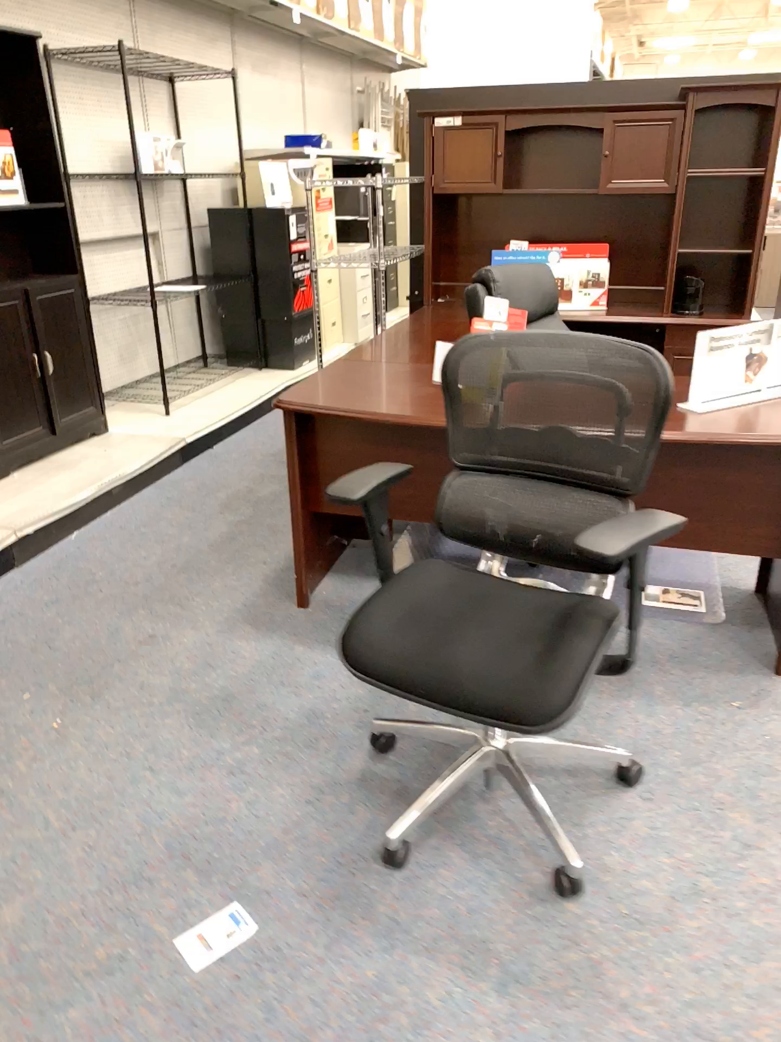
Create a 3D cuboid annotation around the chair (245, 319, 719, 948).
[{"bbox_3d":[0.223,0.147,1.689,0.697,0.984,0.687,10,25,24],"label":"chair"}]
